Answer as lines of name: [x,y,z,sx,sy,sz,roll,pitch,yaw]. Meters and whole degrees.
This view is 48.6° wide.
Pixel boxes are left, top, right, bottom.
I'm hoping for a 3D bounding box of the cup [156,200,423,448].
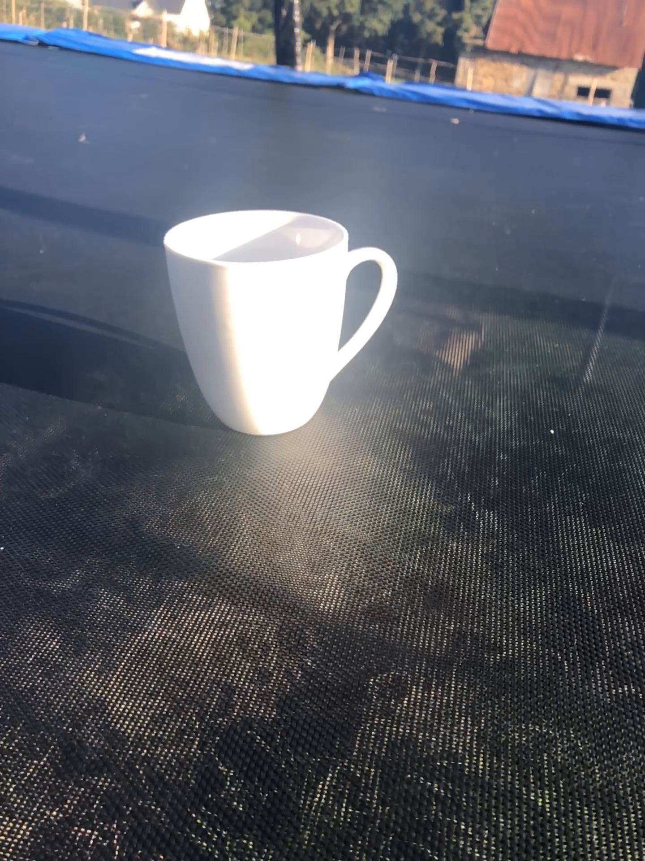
cup: [-0.023,-0.063,0.383,0.110,0.089,0.100,2,31,-1]
